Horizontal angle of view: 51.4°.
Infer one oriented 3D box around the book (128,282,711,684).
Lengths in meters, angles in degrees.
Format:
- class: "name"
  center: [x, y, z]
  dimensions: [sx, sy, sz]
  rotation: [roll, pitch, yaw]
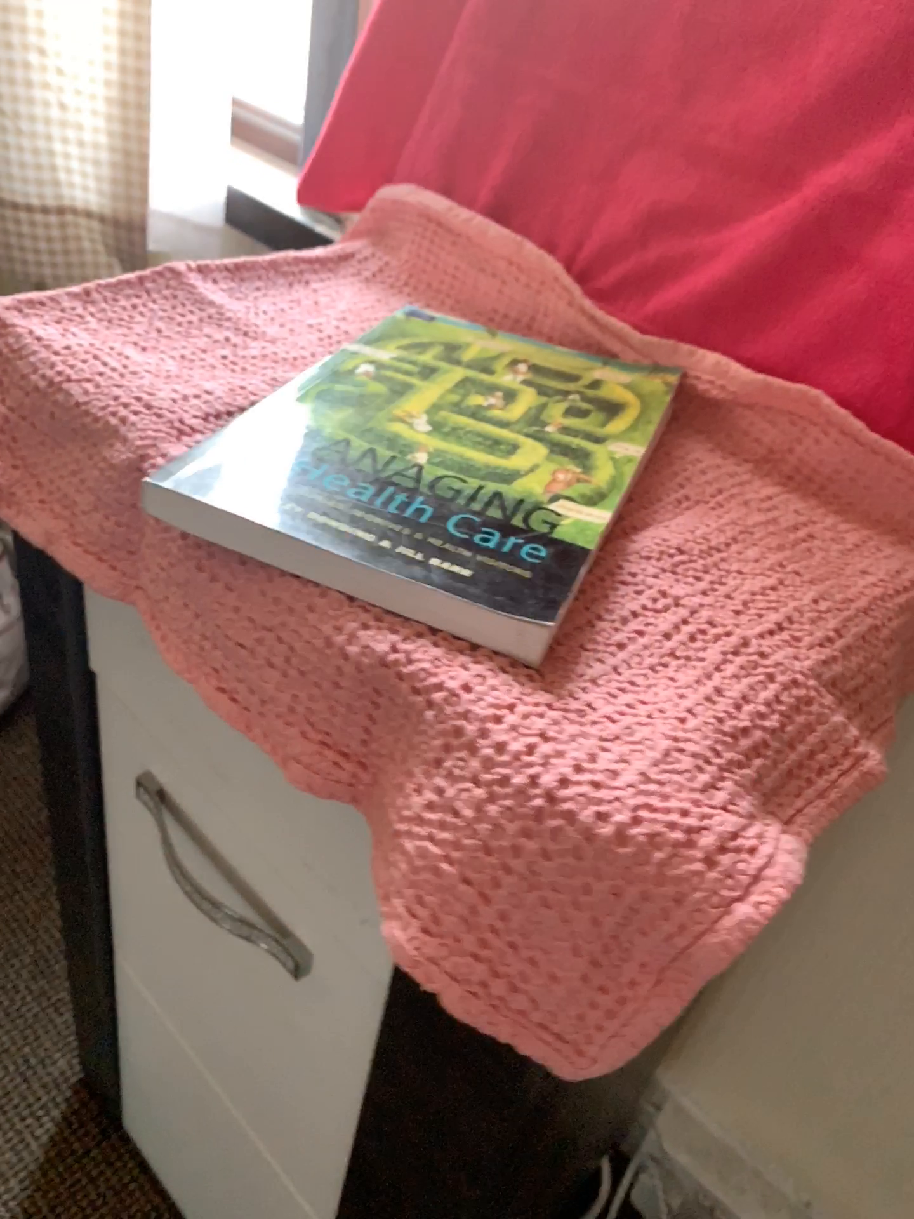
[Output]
- class: "book"
  center: [0.006, -0.077, 0.411]
  dimensions: [0.170, 0.020, 0.242]
  rotation: [21, 38, 11]
